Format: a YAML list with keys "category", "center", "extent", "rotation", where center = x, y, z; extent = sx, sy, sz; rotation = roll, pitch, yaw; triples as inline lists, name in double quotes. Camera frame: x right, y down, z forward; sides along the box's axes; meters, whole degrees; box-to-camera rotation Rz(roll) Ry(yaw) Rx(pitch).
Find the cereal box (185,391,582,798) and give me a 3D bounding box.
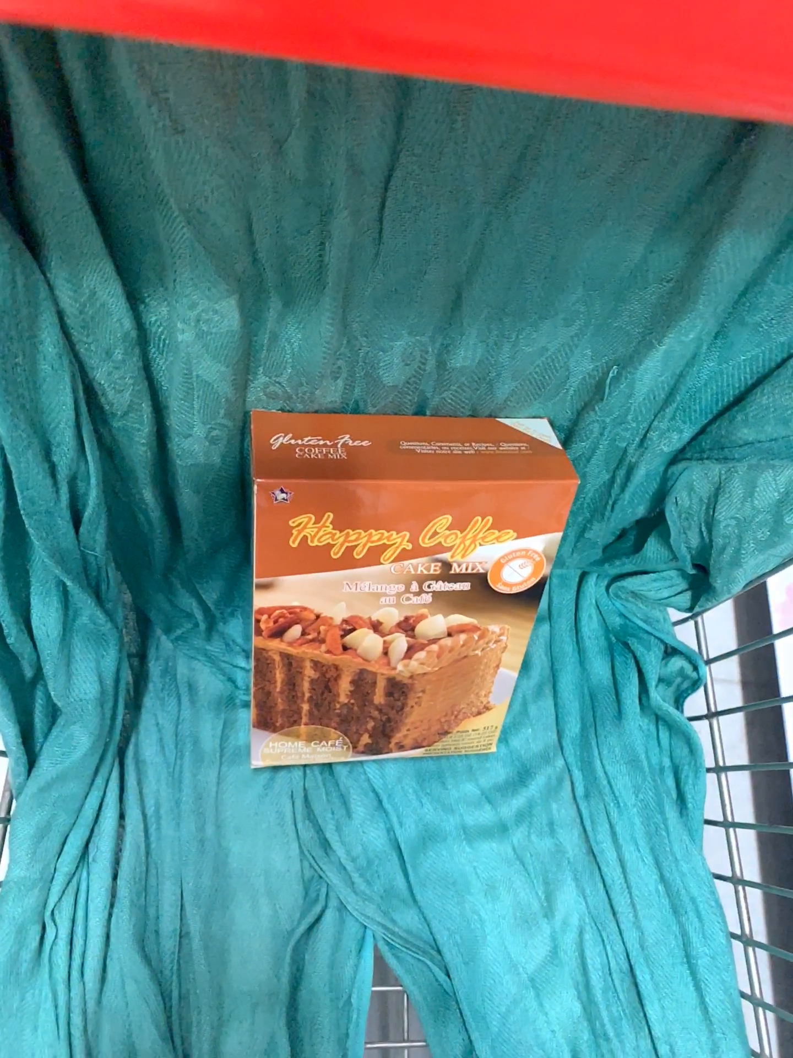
- category: "cereal box"
  center: [-0.018, 0.041, 0.387]
  extent: [0.150, 0.210, 0.050]
  rotation: [-1, 40, -12]
